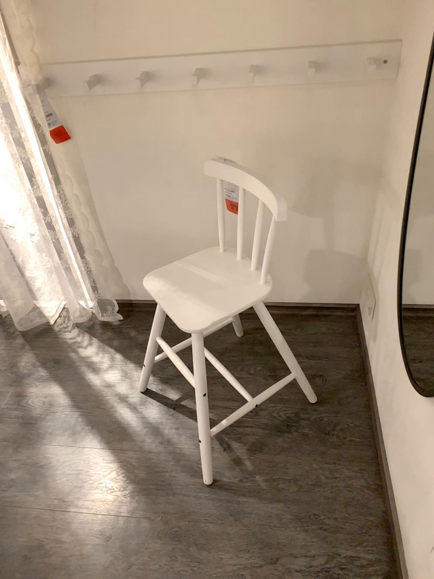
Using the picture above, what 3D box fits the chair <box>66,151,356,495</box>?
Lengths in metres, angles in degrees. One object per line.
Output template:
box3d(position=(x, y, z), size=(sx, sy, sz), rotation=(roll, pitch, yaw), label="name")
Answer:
box3d(position=(-0.001, 0.078, 1.197), size=(0.480, 0.657, 0.452), rotation=(-28, 45, -24), label="chair")
